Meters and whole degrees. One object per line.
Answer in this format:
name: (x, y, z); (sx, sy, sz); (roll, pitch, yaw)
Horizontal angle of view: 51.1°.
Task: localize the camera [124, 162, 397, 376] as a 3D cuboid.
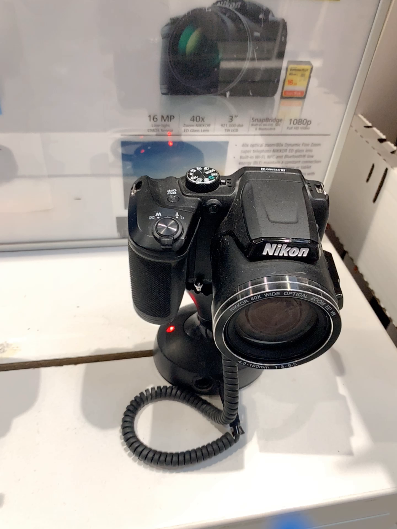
camera: (0.021, 0.004, 0.213); (0.110, 0.089, 0.061); (0, 42, -6)
